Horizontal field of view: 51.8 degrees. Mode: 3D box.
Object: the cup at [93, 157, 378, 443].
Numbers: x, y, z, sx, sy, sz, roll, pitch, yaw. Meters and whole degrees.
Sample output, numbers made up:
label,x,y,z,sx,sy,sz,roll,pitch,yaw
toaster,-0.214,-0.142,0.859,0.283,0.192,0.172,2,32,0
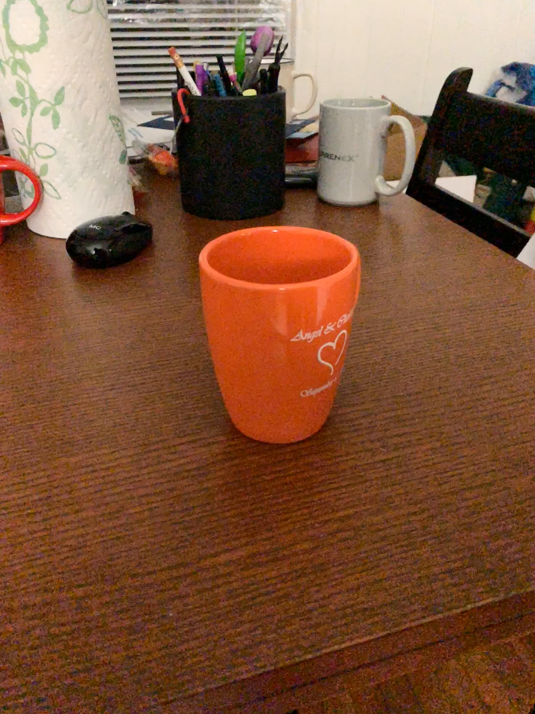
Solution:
label,x,y,z,sx,sy,sz,roll,pitch,yaw
cup,-0.011,-0.045,0.333,0.100,0.109,0.130,19,37,27
